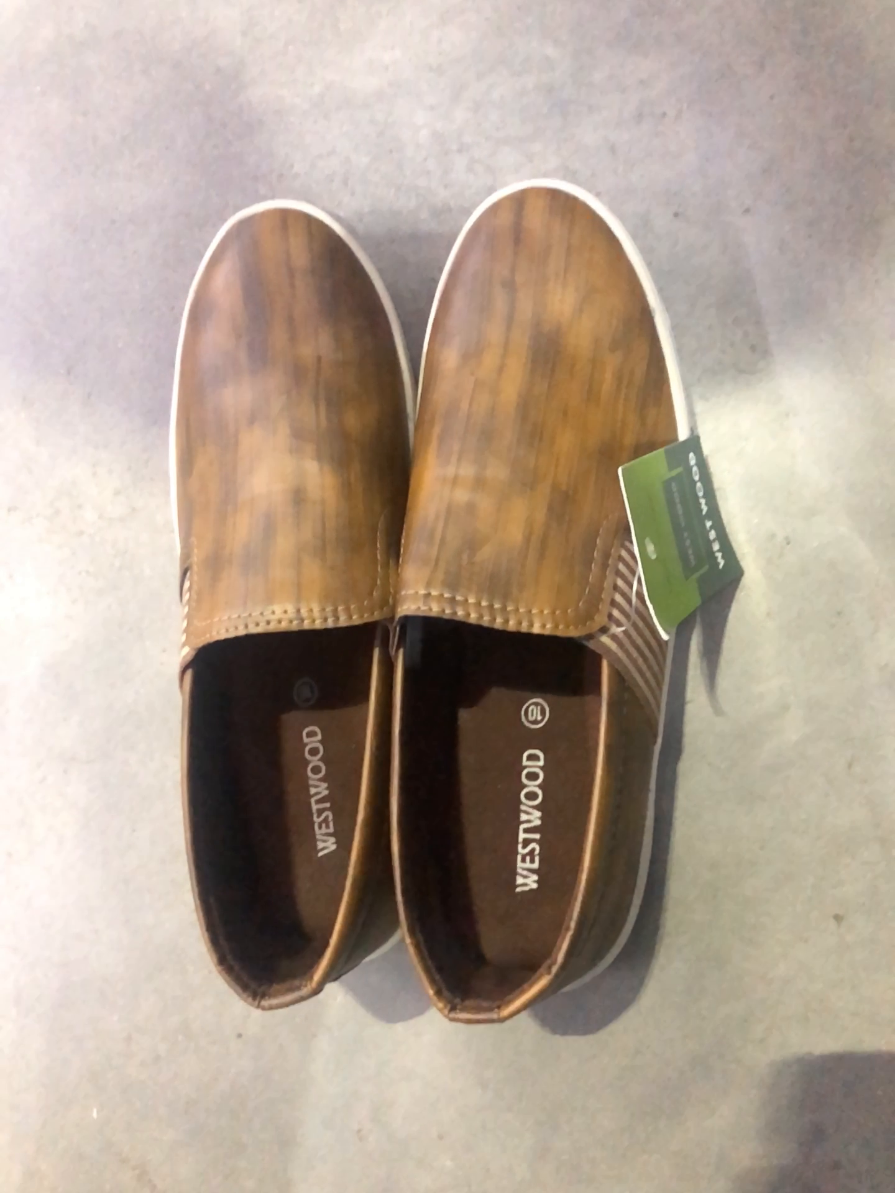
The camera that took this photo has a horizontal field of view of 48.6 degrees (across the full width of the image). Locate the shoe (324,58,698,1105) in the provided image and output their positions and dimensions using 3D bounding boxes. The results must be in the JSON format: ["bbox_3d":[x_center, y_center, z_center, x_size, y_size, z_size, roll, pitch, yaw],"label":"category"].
[{"bbox_3d":[0.029,-0.006,0.355,0.110,0.100,0.310,-1,85,16],"label":"shoe"}]

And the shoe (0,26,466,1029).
[{"bbox_3d":[-0.074,-0.018,0.344,0.110,0.100,0.290,-8,83,16],"label":"shoe"}]
